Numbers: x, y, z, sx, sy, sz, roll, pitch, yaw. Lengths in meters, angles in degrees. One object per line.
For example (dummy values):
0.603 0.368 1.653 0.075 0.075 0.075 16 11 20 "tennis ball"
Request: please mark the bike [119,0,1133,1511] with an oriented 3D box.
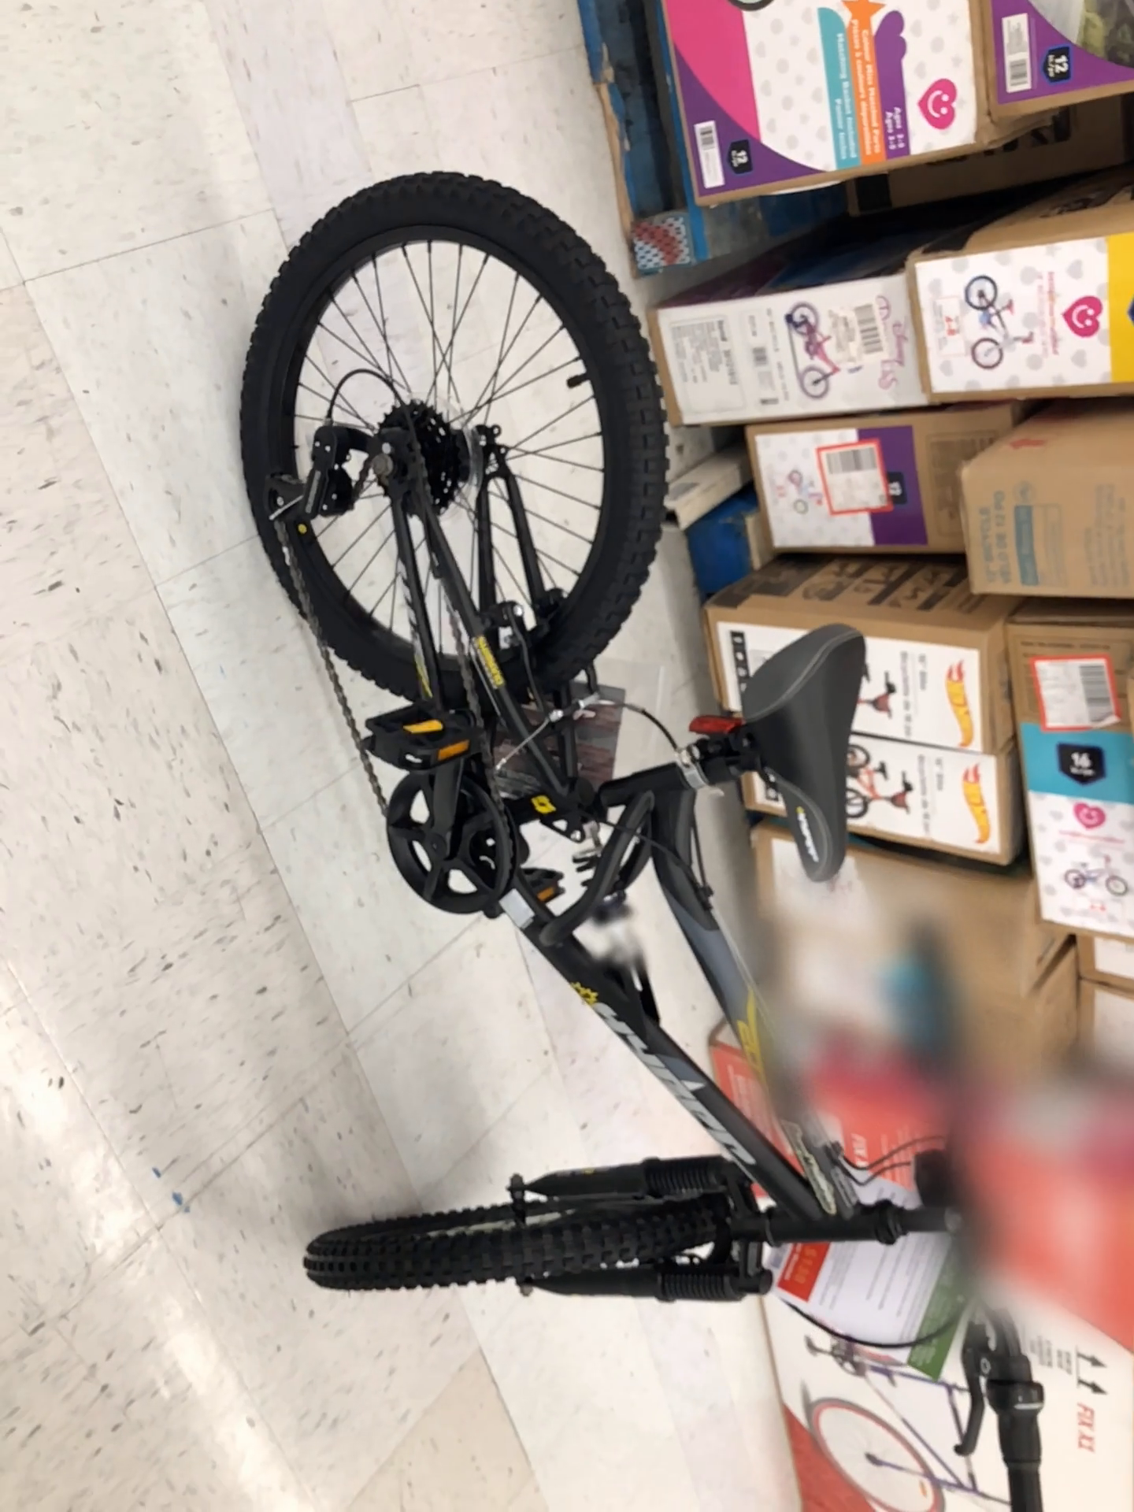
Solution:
0.240 0.034 1.348 0.525 0.849 1.260 -34 119 -42 "bike"
